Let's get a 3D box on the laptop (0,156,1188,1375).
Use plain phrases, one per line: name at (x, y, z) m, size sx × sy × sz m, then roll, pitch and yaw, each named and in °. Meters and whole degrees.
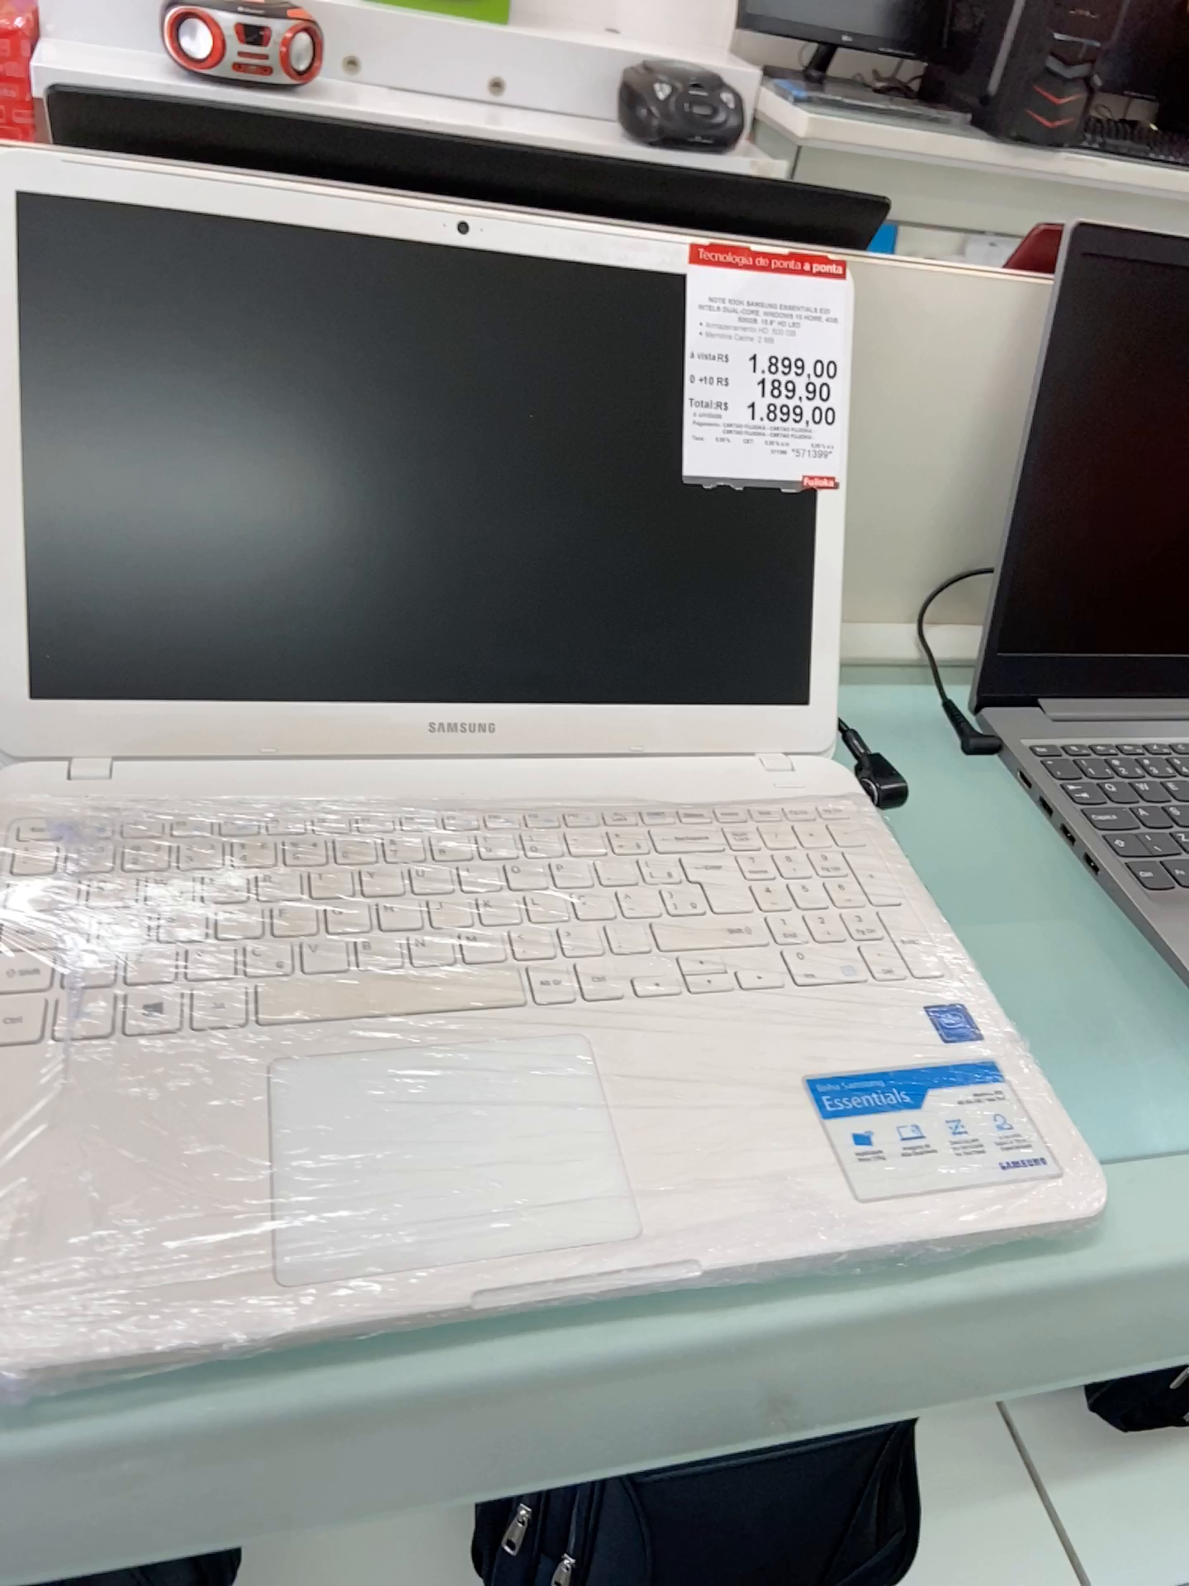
laptop at (-0.030, -0.053, 0.451) m, size 0.375 × 0.192 × 0.382 m, roll -1°, pitch 40°, yaw -17°
